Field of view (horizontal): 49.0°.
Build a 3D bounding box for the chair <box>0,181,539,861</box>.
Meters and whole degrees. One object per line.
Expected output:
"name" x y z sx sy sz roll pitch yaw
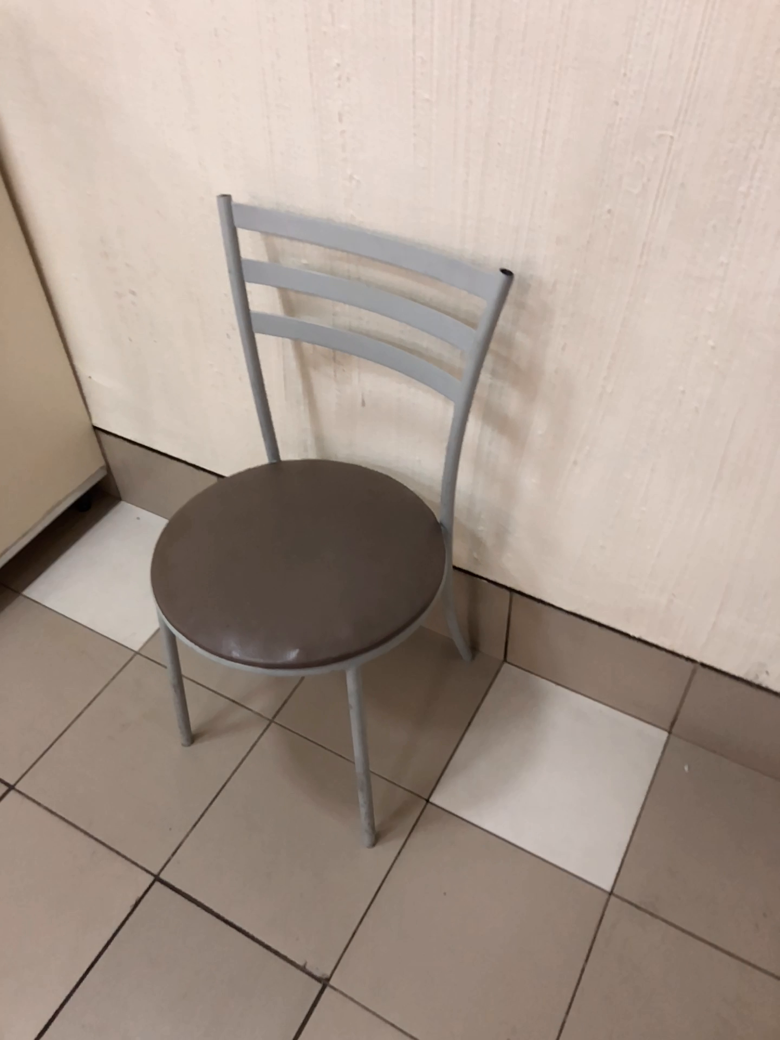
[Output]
"chair" -0.110 0.028 1.188 0.431 0.765 0.422 20 49 21
